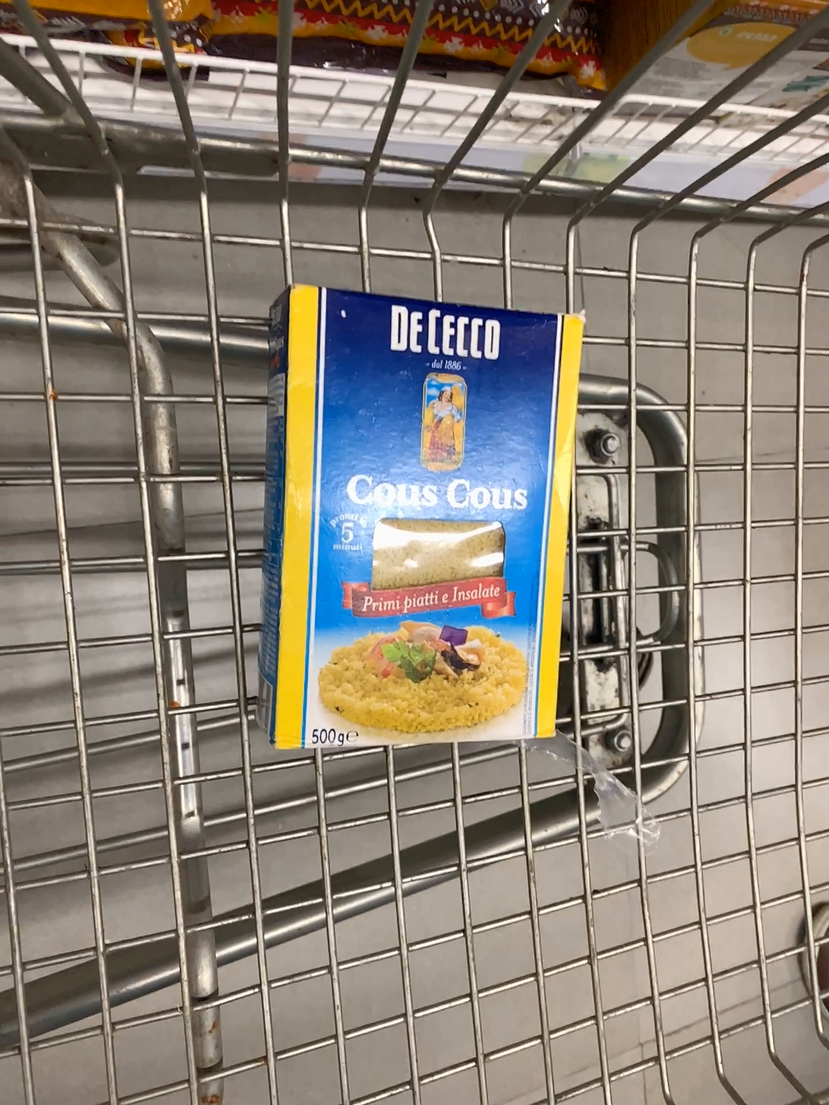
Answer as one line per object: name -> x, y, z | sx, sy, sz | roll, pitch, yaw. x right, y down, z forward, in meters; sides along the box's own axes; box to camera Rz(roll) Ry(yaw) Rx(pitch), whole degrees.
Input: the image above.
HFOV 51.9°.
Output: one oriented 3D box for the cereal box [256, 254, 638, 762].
cereal box -> 0.009, -0.012, 0.309 | 0.120, 0.050, 0.160 | 2, 94, -16
